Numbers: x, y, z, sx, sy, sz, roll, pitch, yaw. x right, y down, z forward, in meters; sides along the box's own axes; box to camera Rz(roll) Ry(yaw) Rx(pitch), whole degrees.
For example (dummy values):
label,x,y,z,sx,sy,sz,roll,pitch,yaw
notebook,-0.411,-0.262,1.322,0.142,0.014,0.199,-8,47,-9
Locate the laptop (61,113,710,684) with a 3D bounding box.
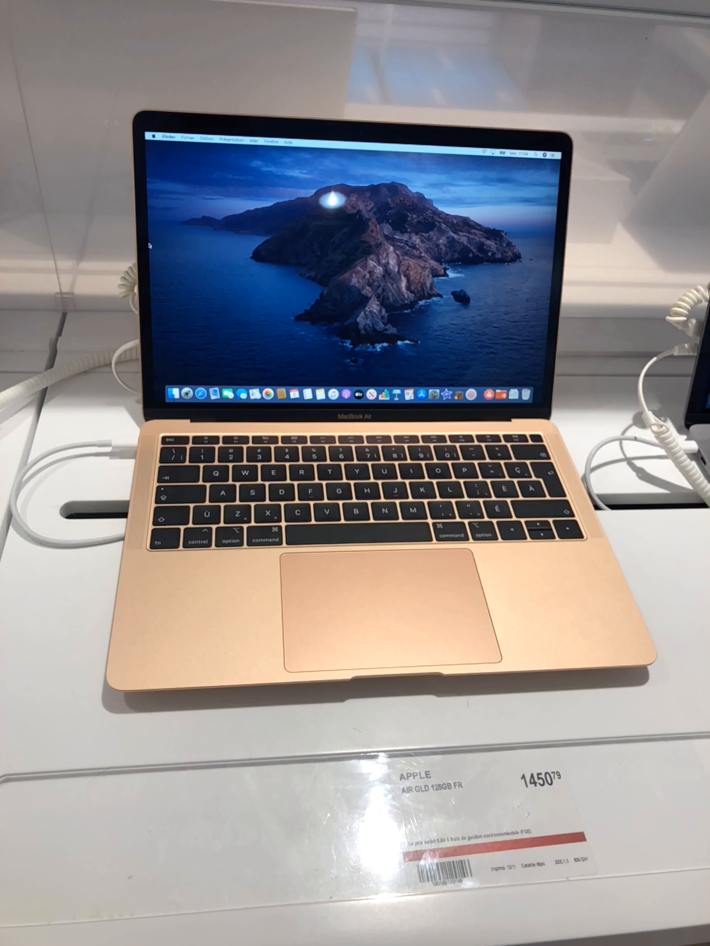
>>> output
label,x,y,z,sx,sy,sz,roll,pitch,yaw
laptop,0.013,-0.061,0.471,0.291,0.170,0.304,-1,45,-8
